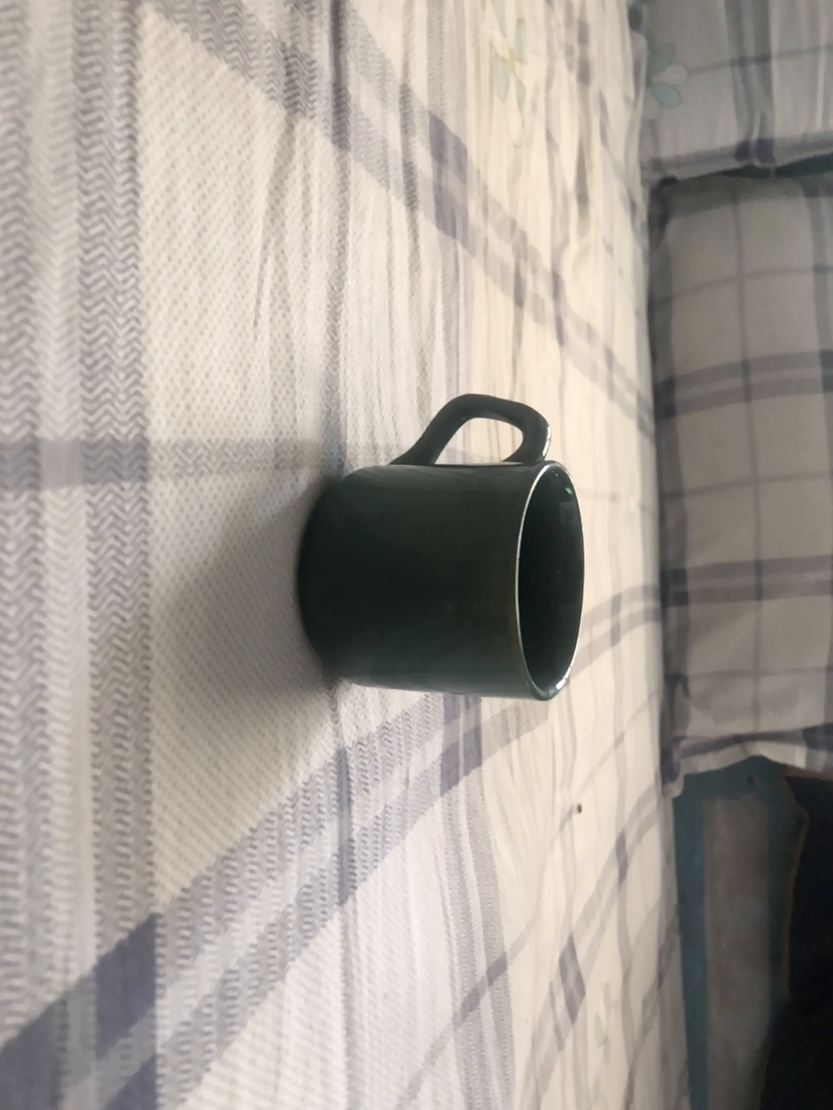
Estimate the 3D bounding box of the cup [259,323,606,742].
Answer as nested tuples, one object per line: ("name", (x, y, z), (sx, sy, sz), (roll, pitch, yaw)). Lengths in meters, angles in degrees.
("cup", (0.012, -0.005, 0.245), (0.070, 0.060, 0.080), (68, 28, -43))
